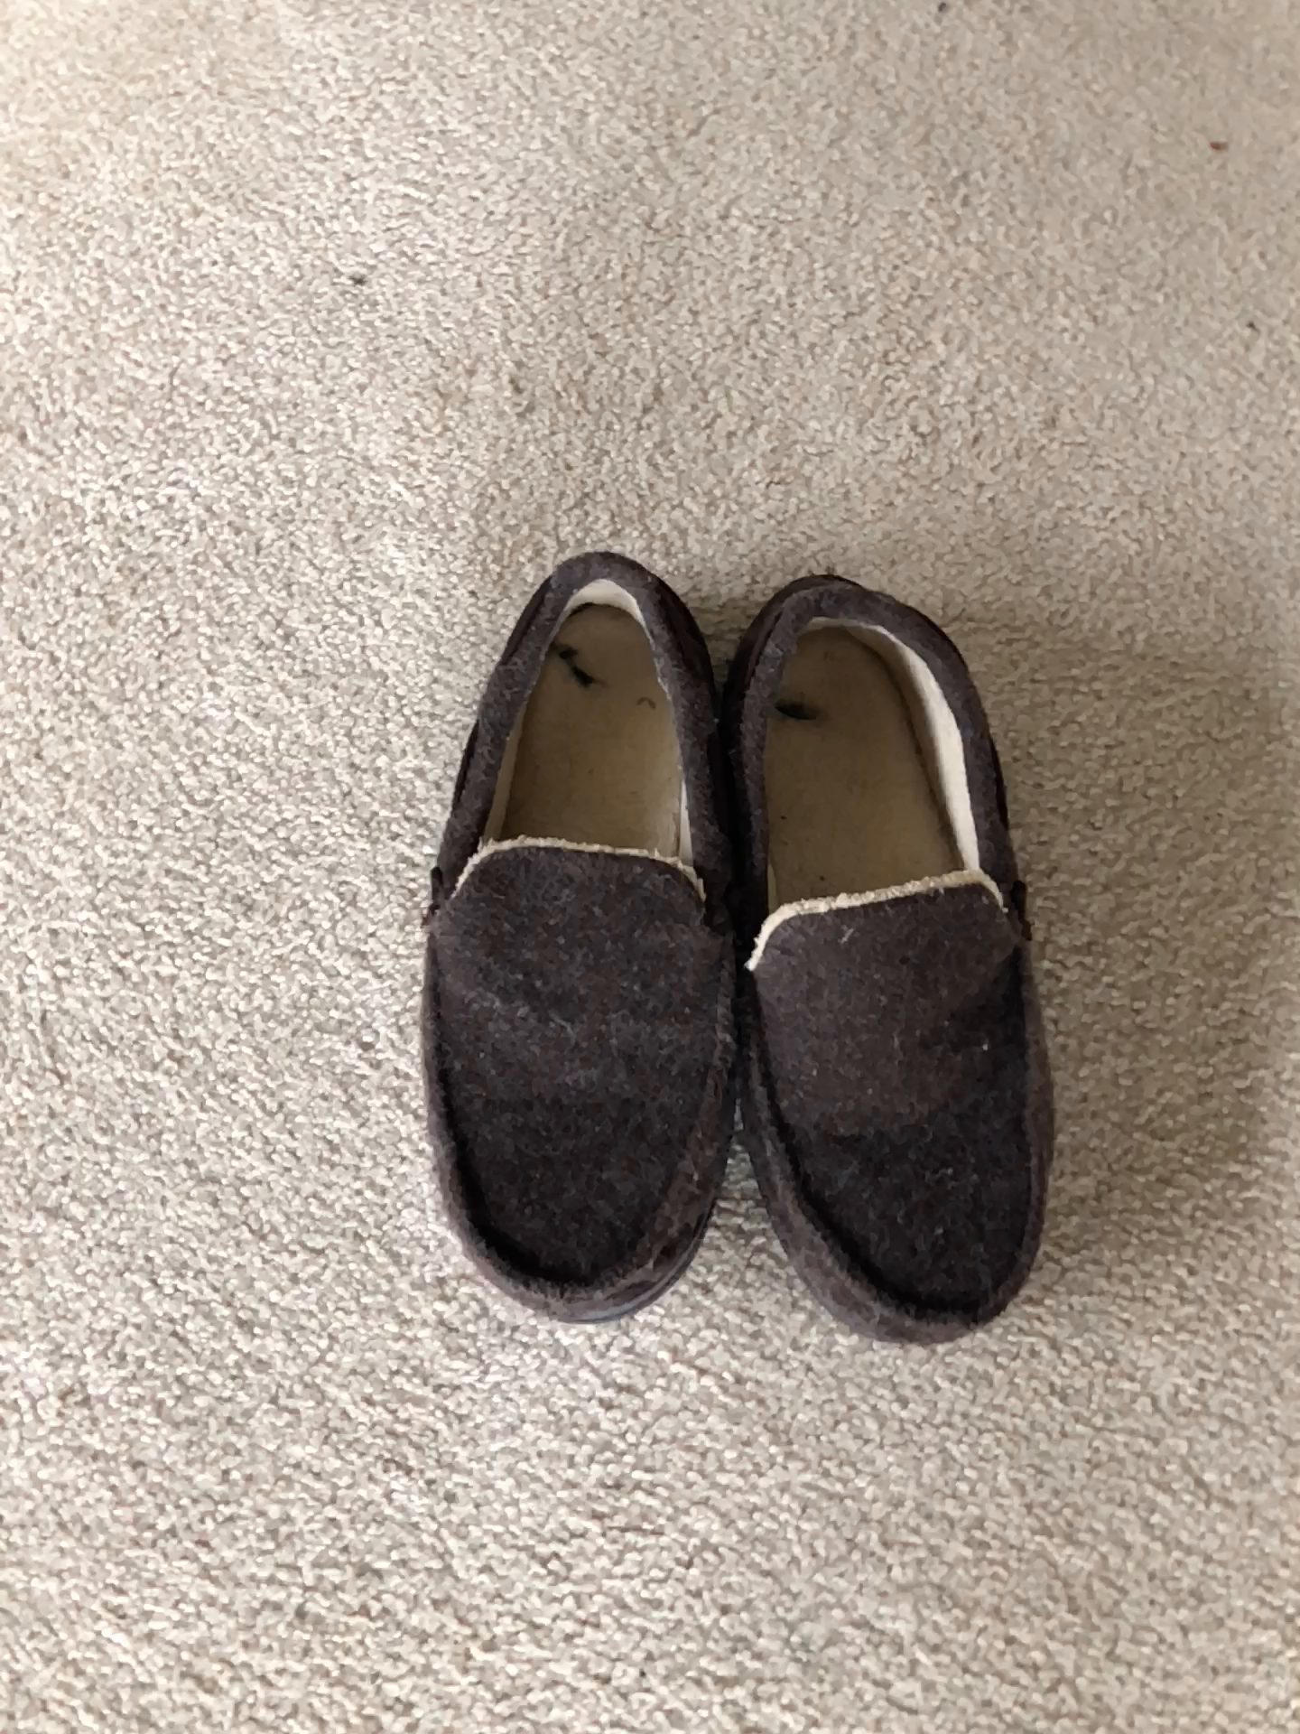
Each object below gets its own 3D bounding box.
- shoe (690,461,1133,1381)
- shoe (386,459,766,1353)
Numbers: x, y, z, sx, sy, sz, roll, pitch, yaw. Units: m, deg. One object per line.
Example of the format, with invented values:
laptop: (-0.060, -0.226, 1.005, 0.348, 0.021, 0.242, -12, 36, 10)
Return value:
shoe: (0.084, 0.017, 0.530, 0.118, 0.096, 0.316, -3, 74, 0)
shoe: (-0.024, 0.013, 0.538, 0.120, 0.096, 0.317, -1, 74, 1)
